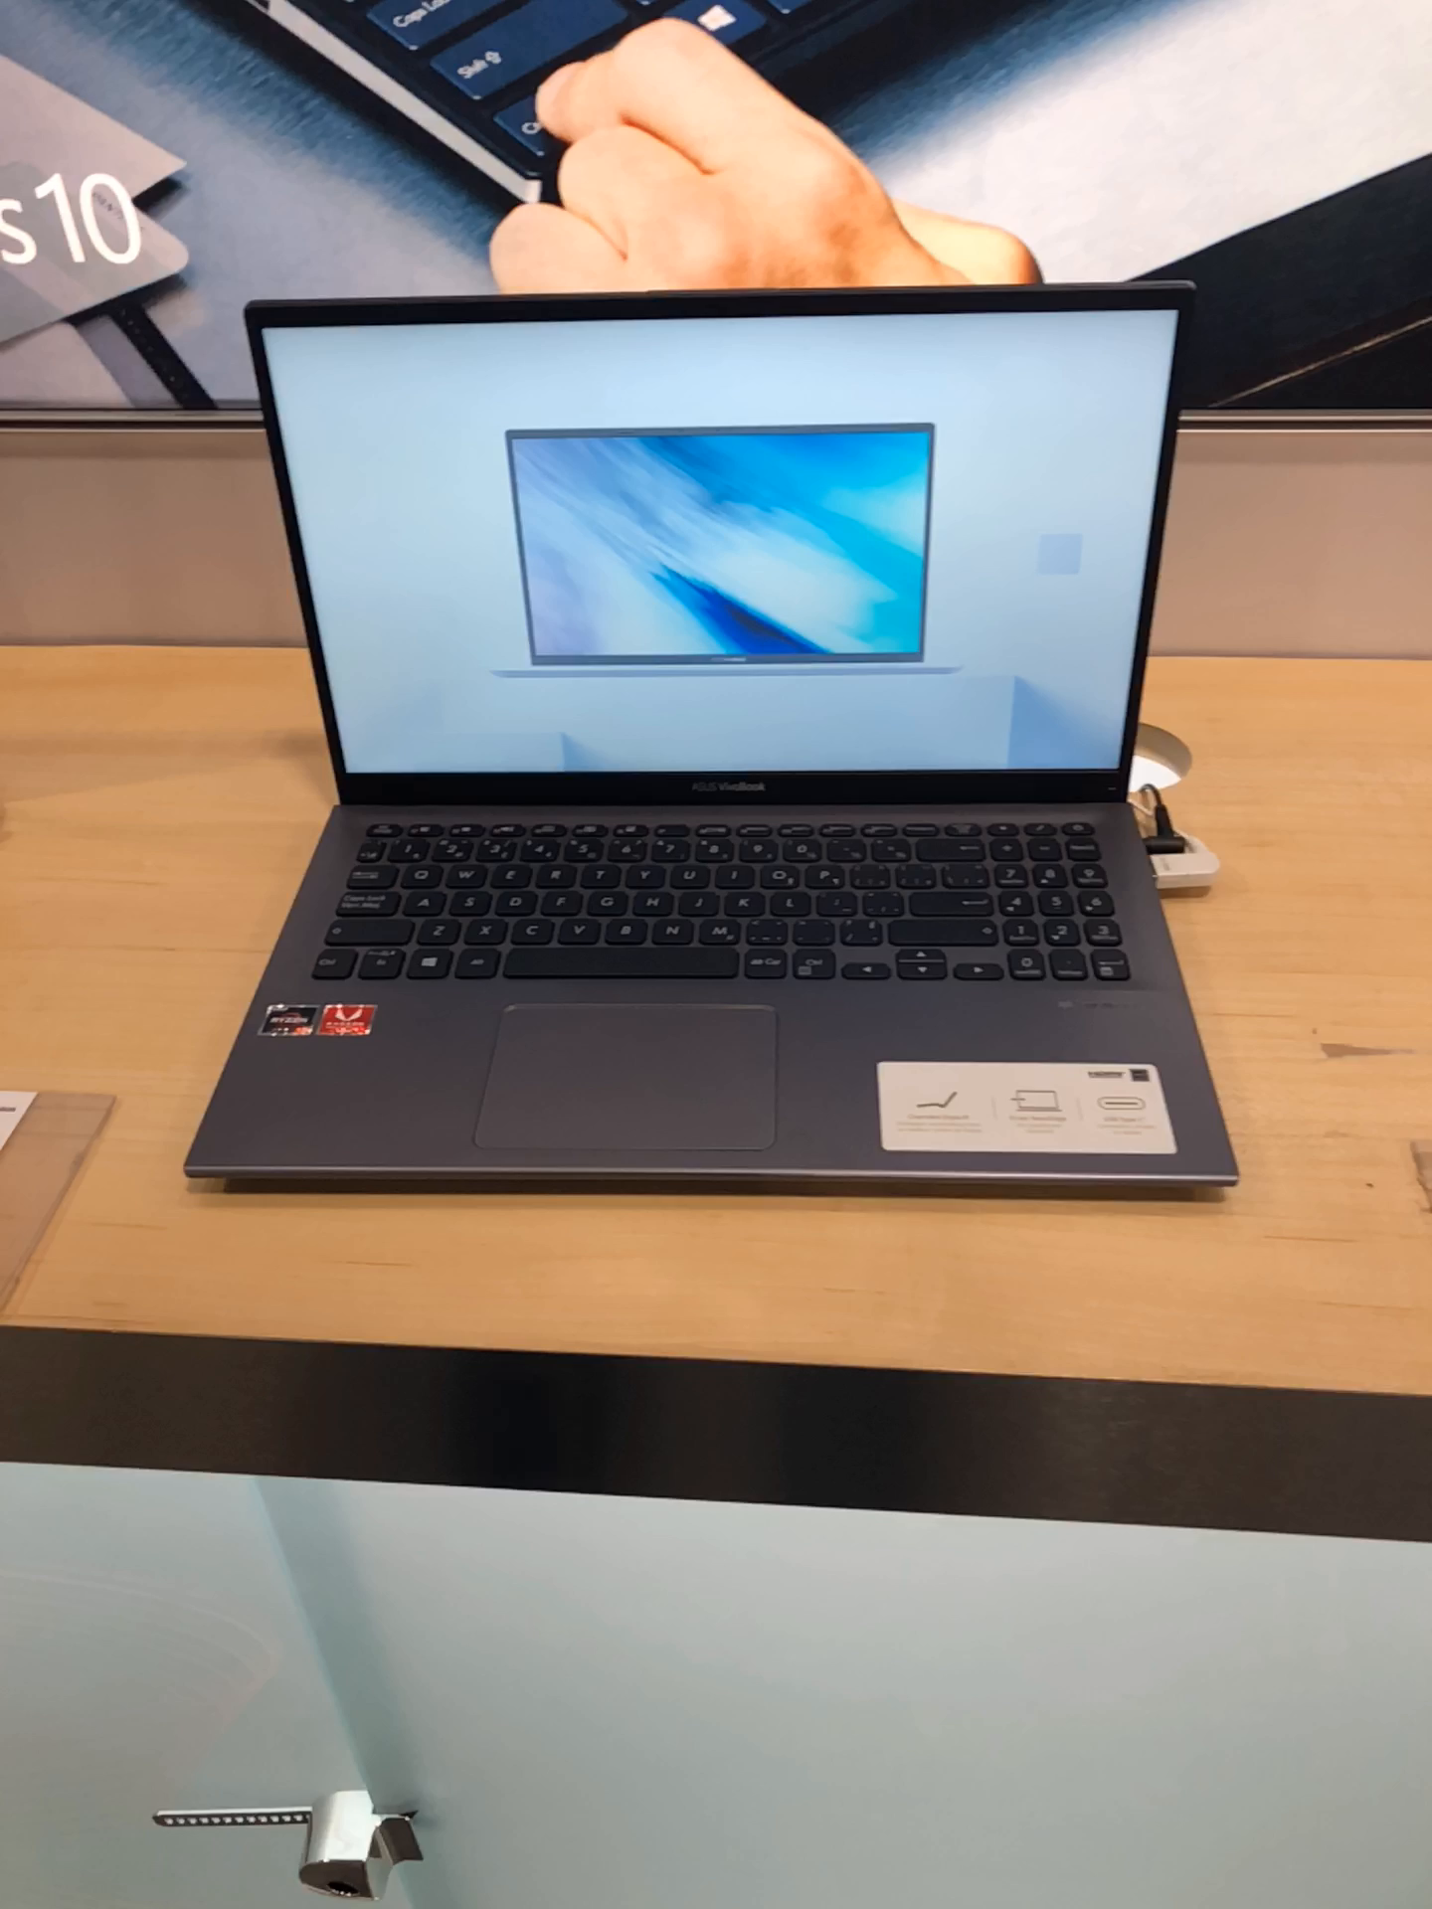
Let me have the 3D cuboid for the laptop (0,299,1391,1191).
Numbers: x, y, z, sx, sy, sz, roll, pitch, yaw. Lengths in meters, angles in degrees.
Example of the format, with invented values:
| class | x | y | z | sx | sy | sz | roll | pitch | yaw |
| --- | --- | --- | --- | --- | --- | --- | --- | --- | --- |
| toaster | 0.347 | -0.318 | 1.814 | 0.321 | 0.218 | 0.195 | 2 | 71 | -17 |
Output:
| class | x | y | z | sx | sy | sz | roll | pitch | yaw |
| --- | --- | --- | --- | --- | --- | --- | --- | --- | --- |
| laptop | -0.003 | -0.082 | 0.551 | 0.349 | 0.211 | 0.243 | 1 | 38 | 4 |
